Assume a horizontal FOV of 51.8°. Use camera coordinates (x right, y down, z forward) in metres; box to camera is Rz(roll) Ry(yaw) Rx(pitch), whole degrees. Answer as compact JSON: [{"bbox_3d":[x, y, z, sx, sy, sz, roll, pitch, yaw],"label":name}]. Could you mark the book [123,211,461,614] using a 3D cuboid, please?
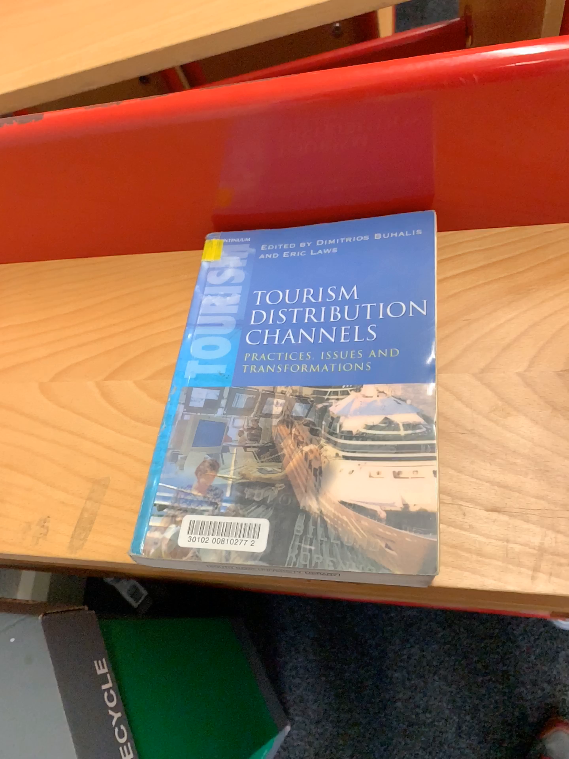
[{"bbox_3d":[0.016,0.003,0.352,0.167,0.031,0.239,0,60,15],"label":"book"}]
